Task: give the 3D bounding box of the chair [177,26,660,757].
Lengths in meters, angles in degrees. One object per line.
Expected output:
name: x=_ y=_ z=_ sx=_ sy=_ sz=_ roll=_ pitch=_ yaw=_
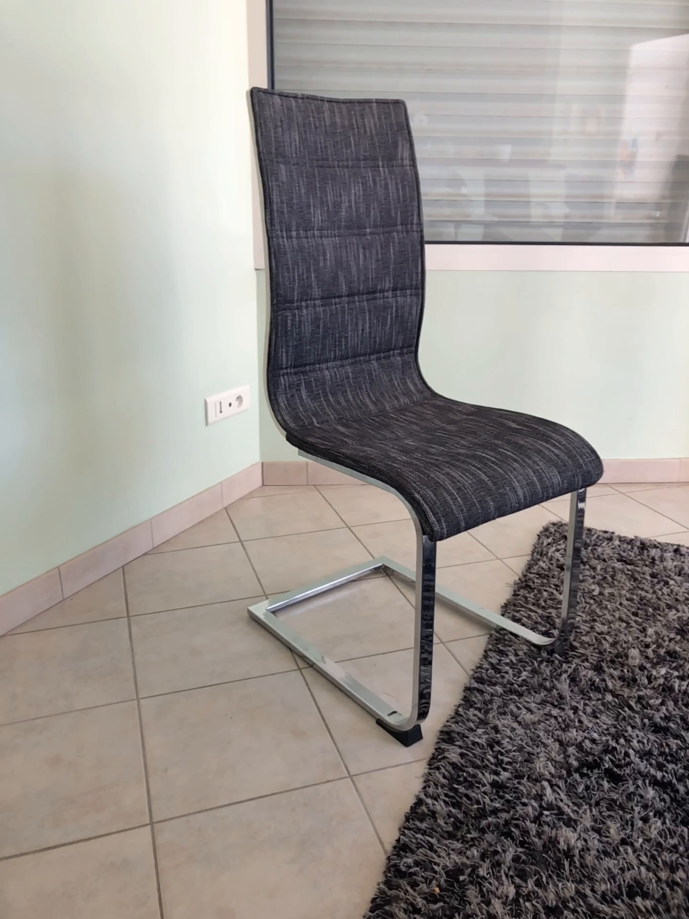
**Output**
chair: x=0.093 y=-0.138 z=1.340 sx=0.502 sy=0.966 sz=0.580 roll=-14 pitch=23 yaw=-37
